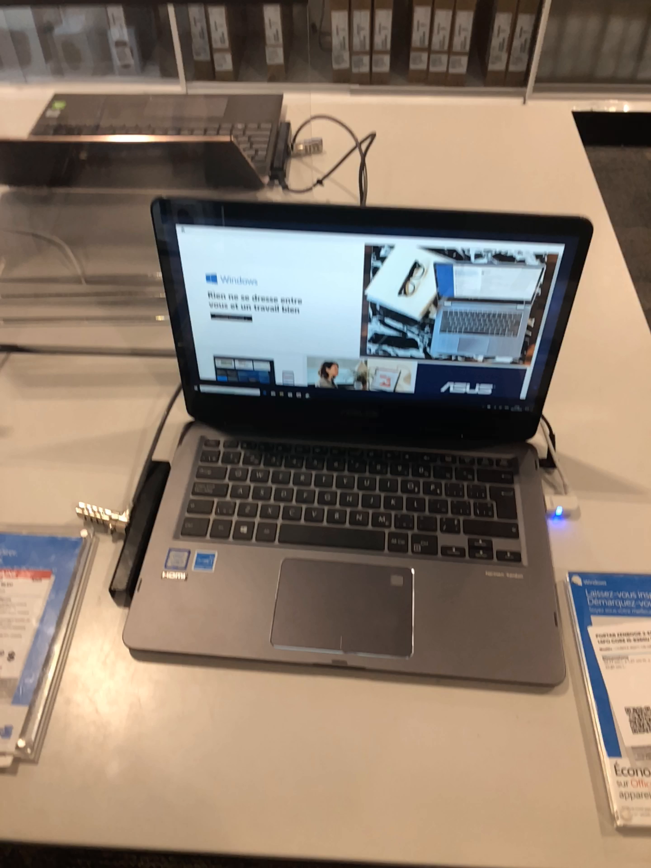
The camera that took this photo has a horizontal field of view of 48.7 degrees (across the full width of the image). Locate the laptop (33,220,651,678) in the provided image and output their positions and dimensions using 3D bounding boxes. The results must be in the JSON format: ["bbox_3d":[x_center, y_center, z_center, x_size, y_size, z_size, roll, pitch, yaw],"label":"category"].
[{"bbox_3d":[0.018,0.007,0.499,0.302,0.217,0.225,3,48,5],"label":"laptop"}]
